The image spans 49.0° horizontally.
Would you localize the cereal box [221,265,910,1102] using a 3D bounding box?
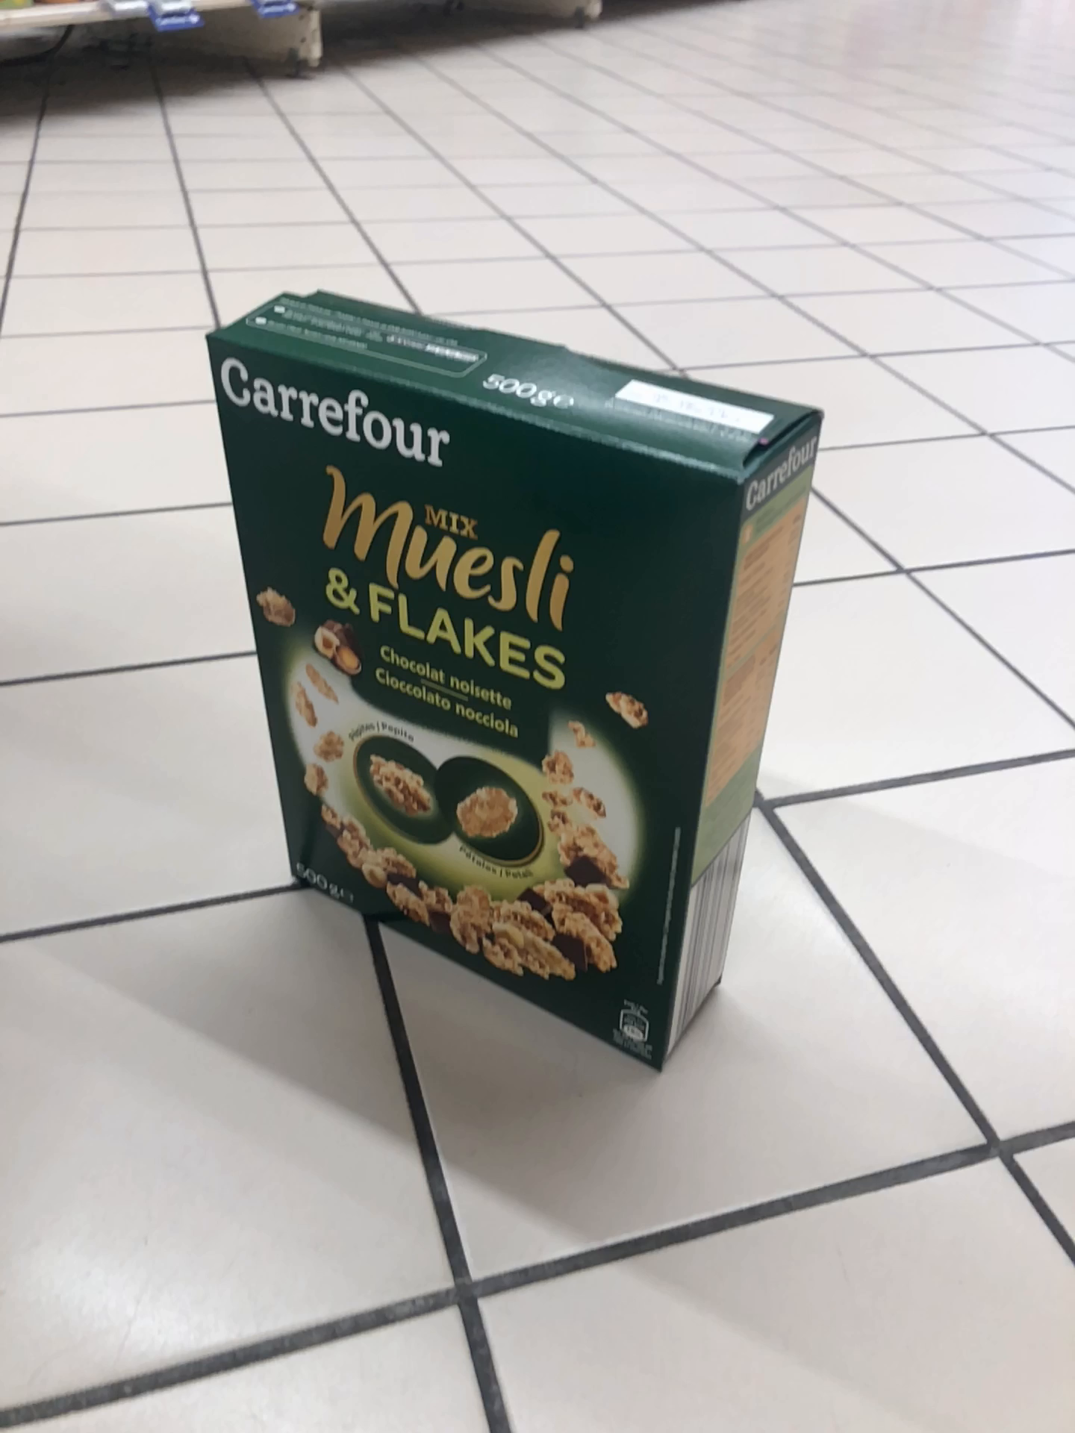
[{"bbox_3d":[0.001,-0.011,0.436,0.200,0.248,0.080,23,42,26],"label":"cereal box"}]
